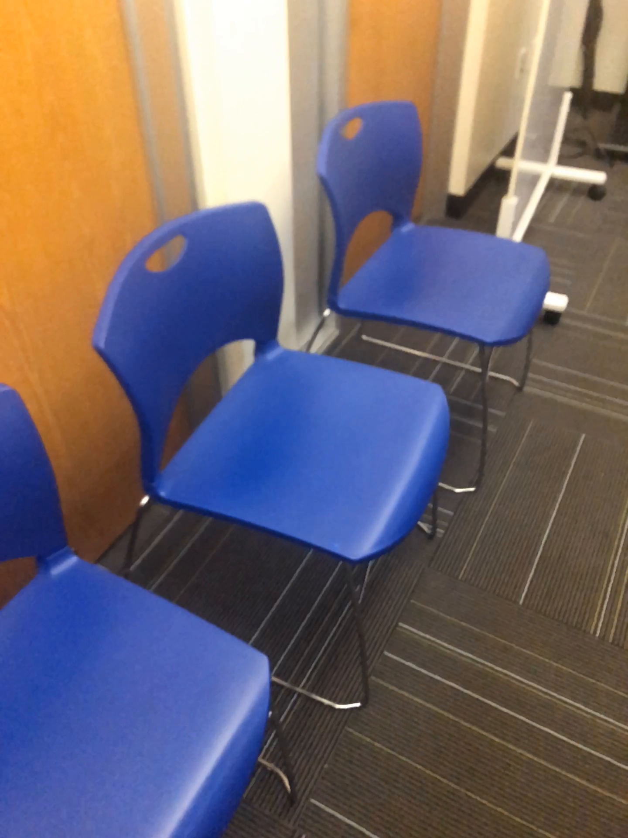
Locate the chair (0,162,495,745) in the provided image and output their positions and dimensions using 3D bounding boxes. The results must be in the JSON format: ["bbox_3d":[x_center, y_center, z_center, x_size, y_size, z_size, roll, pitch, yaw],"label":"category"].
[{"bbox_3d":[-0.094,0.061,1.357,0.630,0.853,0.524,17,43,20],"label":"chair"}]

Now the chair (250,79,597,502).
[{"bbox_3d":[0.261,-0.337,1.750,0.590,0.773,0.545,18,43,21],"label":"chair"}]
